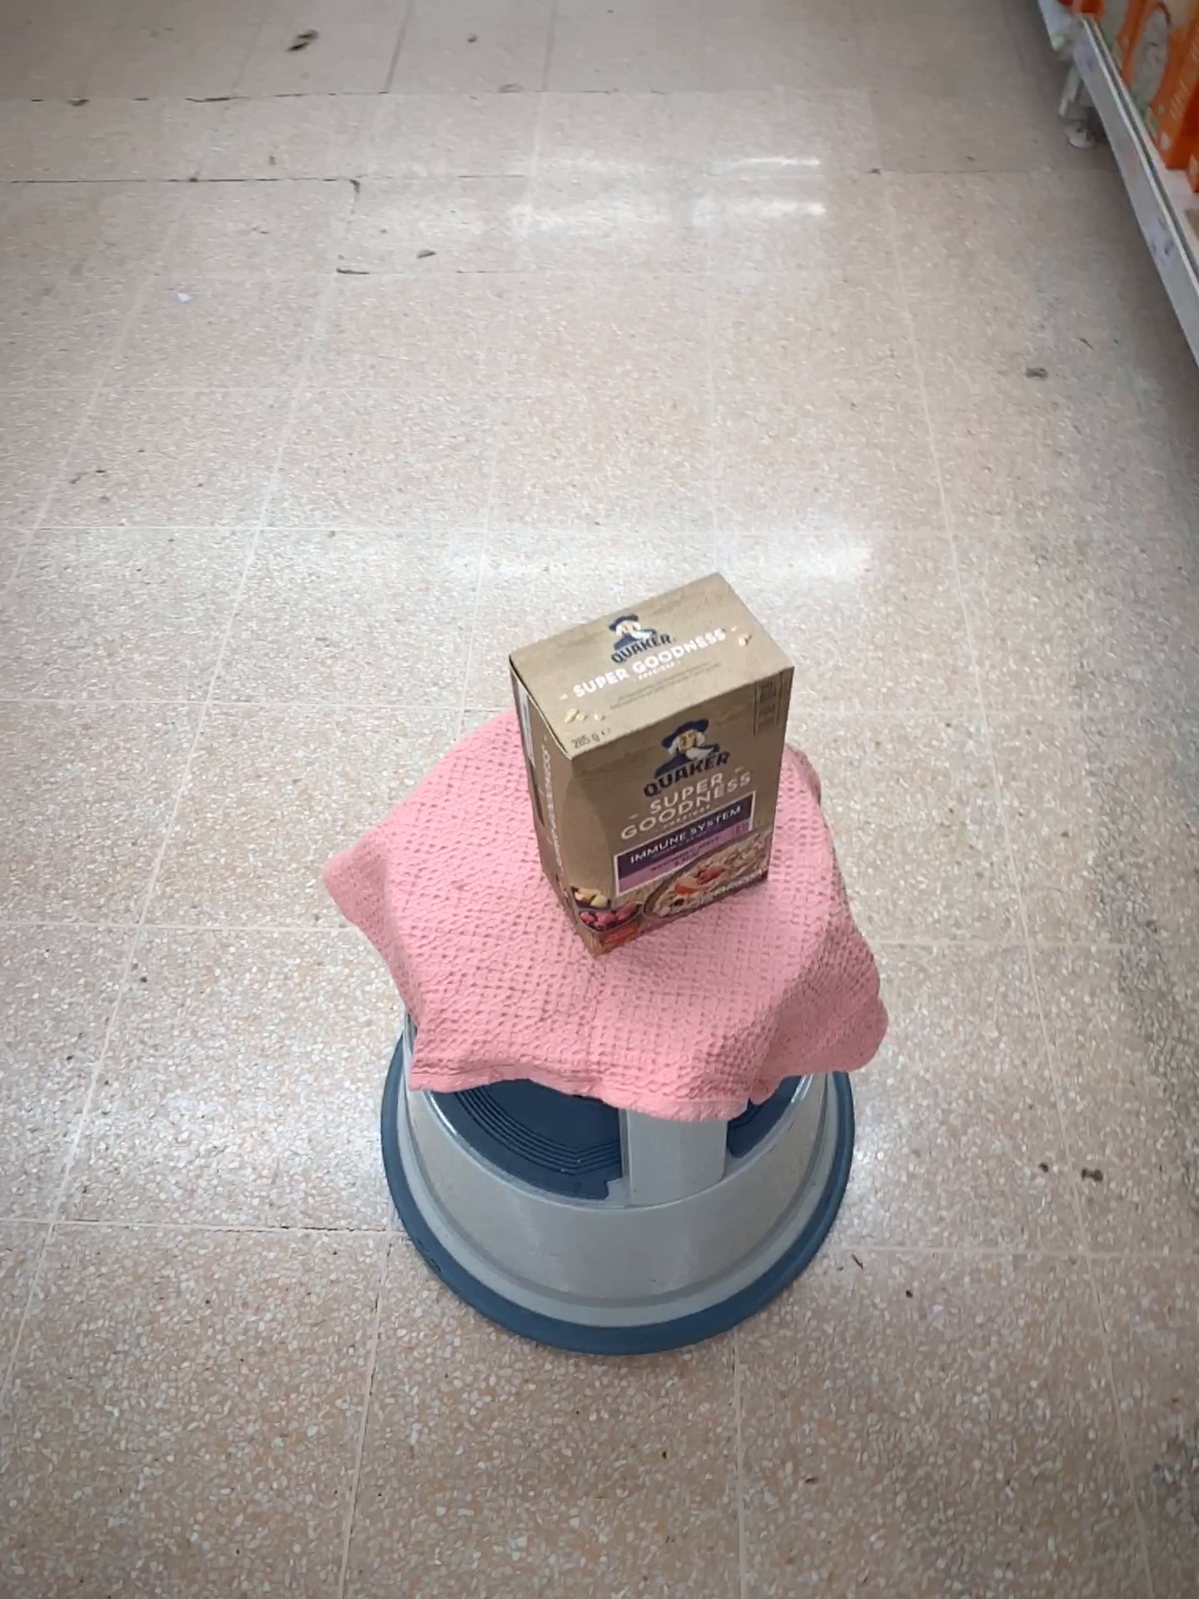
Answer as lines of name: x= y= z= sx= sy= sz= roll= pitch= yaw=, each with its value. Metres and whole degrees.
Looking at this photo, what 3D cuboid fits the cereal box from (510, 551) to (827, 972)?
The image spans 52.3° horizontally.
cereal box: x=0.036 y=-0.014 z=0.691 sx=0.130 sy=0.208 sz=0.091 roll=-24 pitch=58 yaw=-14
